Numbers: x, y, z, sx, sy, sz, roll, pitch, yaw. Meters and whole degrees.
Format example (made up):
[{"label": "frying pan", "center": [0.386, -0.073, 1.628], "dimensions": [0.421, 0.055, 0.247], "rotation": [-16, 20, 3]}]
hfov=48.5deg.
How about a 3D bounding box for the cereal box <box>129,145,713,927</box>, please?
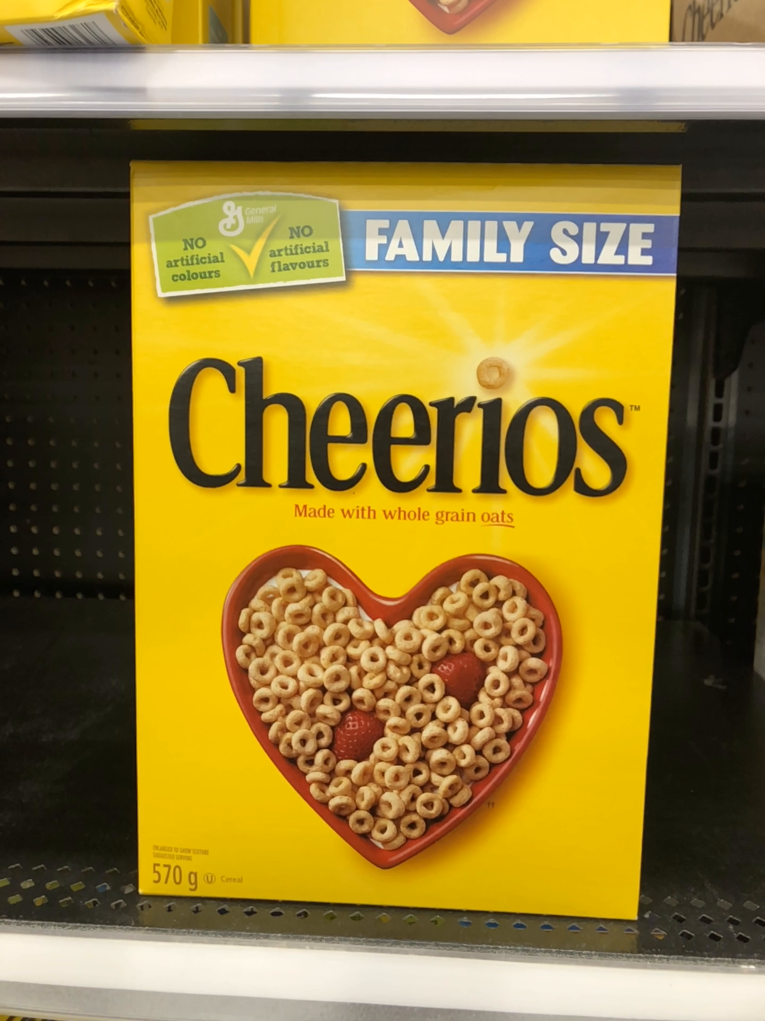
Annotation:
[{"label": "cereal box", "center": [0.010, 0.013, 0.418], "dimensions": [0.240, 0.339, 0.090], "rotation": [2, 8, 2]}]
